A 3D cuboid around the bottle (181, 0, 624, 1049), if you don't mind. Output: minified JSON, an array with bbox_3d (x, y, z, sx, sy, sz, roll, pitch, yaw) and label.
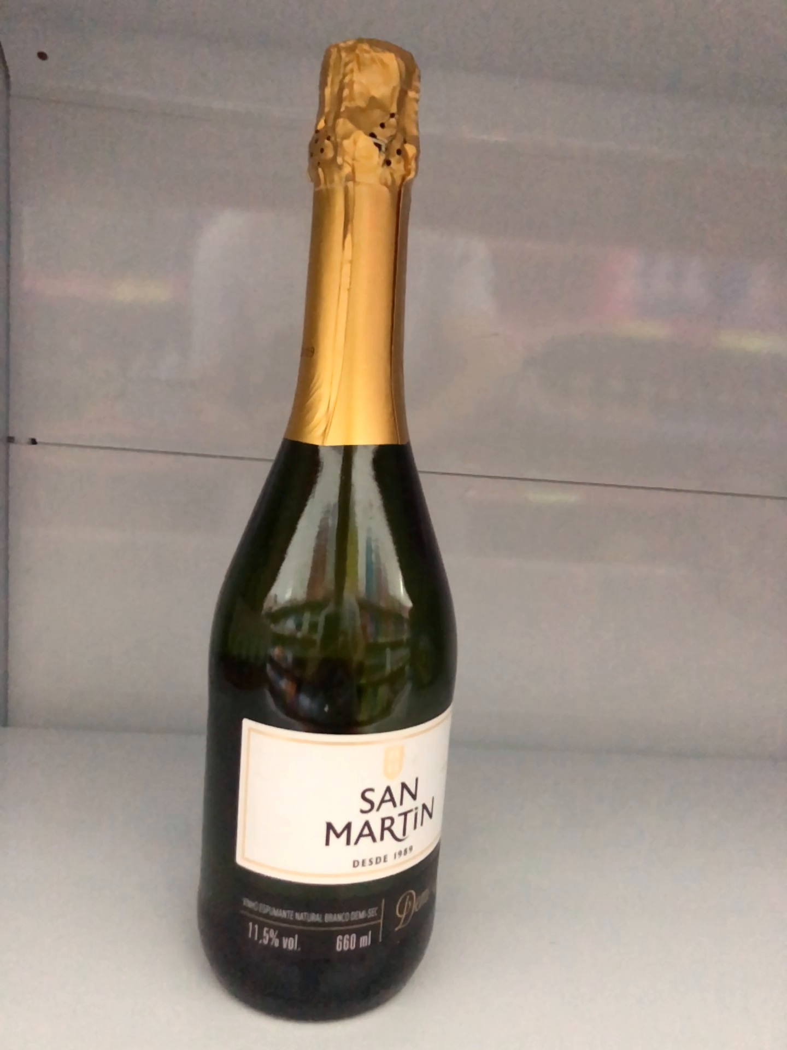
[{"bbox_3d":[-0.007,-0.007,0.280,0.090,0.309,0.080,-1,11,-29],"label":"bottle"}]
